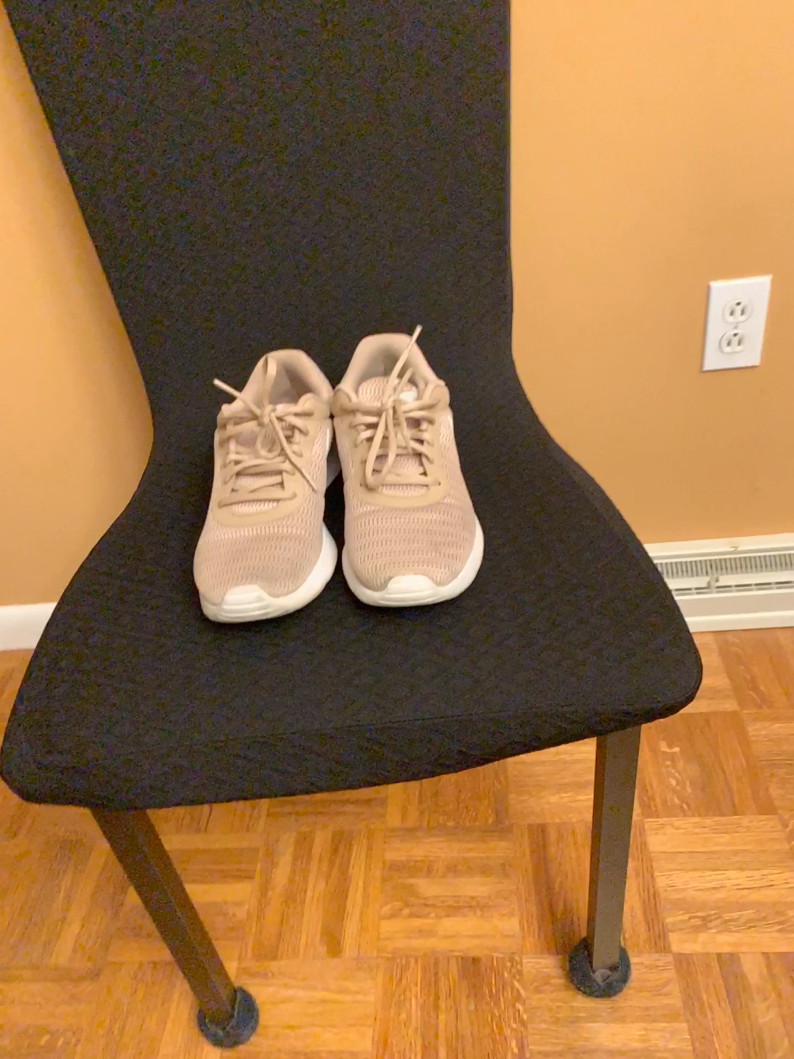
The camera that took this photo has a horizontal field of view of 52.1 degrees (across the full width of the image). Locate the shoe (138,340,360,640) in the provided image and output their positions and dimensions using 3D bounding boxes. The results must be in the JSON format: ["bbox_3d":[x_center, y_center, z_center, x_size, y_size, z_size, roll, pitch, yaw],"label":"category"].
[{"bbox_3d":[-0.099,-0.045,0.641,0.110,0.089,0.272,-5,37,6],"label":"shoe"}]

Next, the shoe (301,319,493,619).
[{"bbox_3d":[0.006,-0.059,0.614,0.110,0.089,0.262,-5,37,6],"label":"shoe"}]
